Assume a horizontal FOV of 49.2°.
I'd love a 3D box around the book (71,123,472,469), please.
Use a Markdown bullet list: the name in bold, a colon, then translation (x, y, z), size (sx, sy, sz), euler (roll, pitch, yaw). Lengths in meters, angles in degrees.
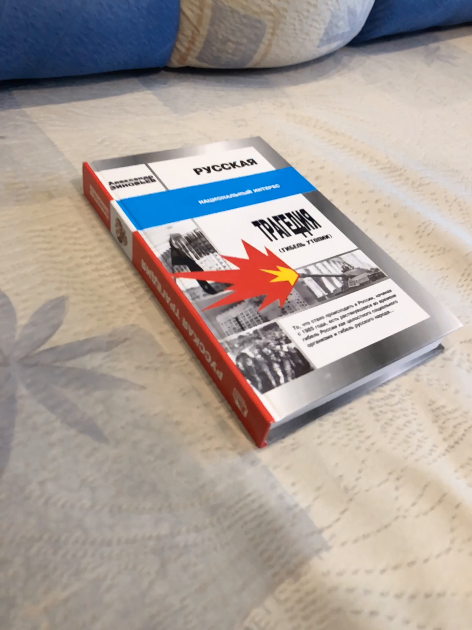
- **book**: translation (0.017, -0.036, 0.311), size (0.161, 0.040, 0.201), euler (-20, 56, -27)
